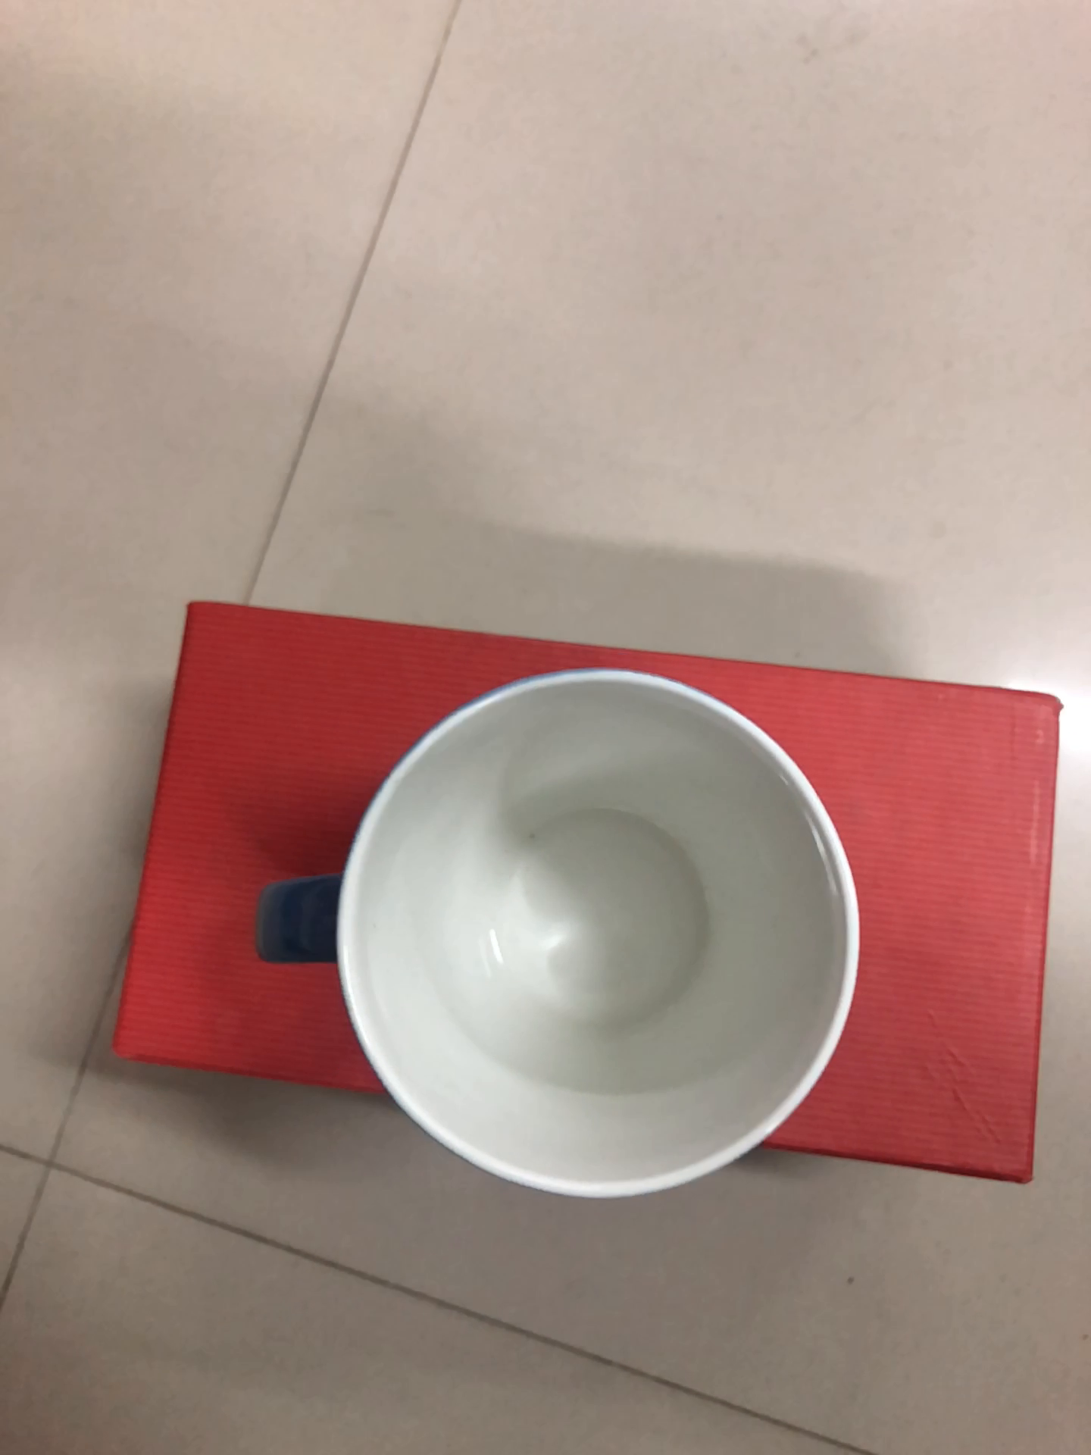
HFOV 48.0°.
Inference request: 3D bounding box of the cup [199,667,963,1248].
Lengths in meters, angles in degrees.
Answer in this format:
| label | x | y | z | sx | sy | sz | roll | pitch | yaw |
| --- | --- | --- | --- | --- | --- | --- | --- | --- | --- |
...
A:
| label | x | y | z | sx | sy | sz | roll | pitch | yaw |
| --- | --- | --- | --- | --- | --- | --- | --- | --- | --- |
| cup | 0.005 | 0.039 | 0.223 | 0.110 | 0.080 | 0.080 | -4 | 82 | 3 |
